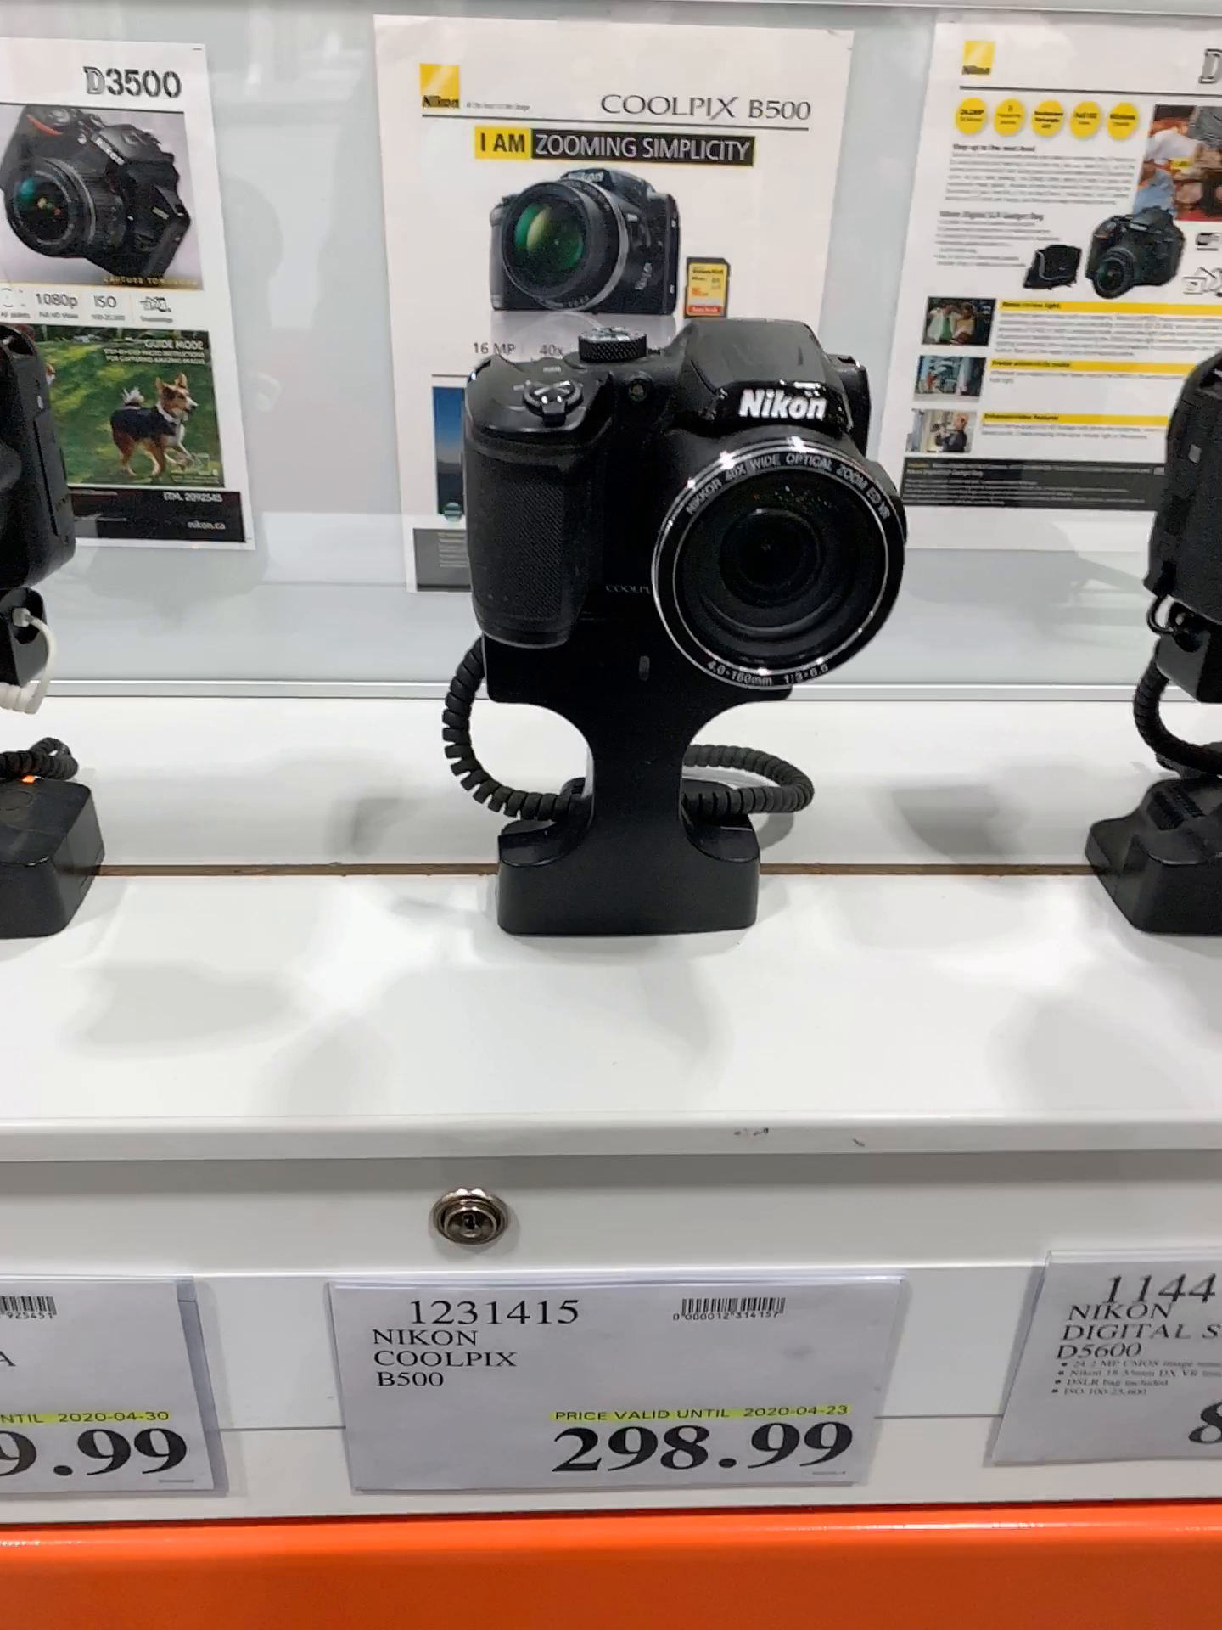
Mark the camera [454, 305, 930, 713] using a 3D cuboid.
[{"bbox_3d":[0.016,-0.085,0.342,0.110,0.089,0.071,-2,30,-4],"label":"camera"}]
